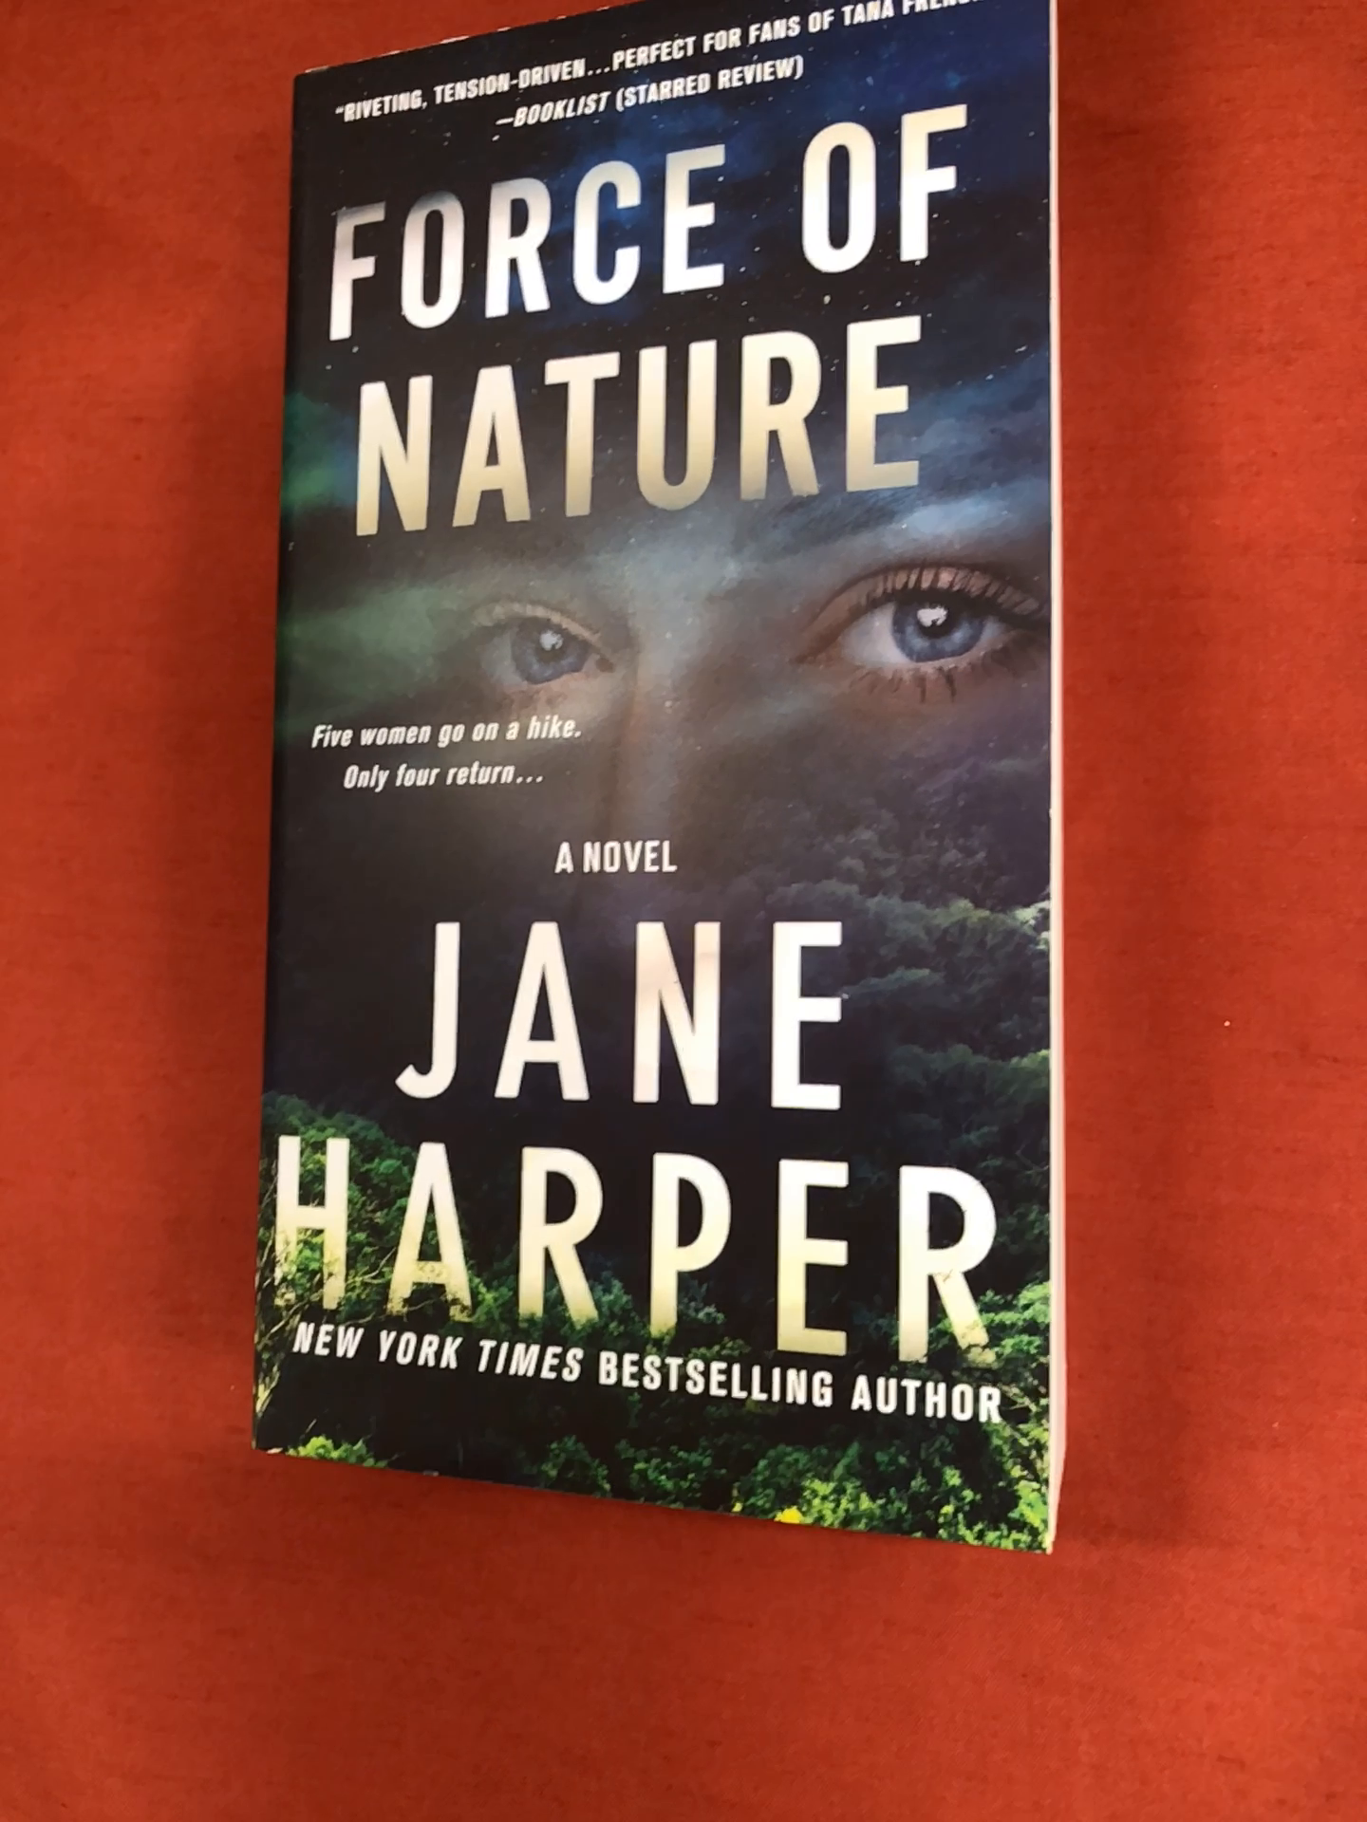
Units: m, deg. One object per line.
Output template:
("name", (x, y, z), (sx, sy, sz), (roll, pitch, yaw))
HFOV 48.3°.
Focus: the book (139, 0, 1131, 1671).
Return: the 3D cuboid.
("book", (-0.003, -0.014, 0.192), (0.110, 0.050, 0.180), (-1, 92, 18))
